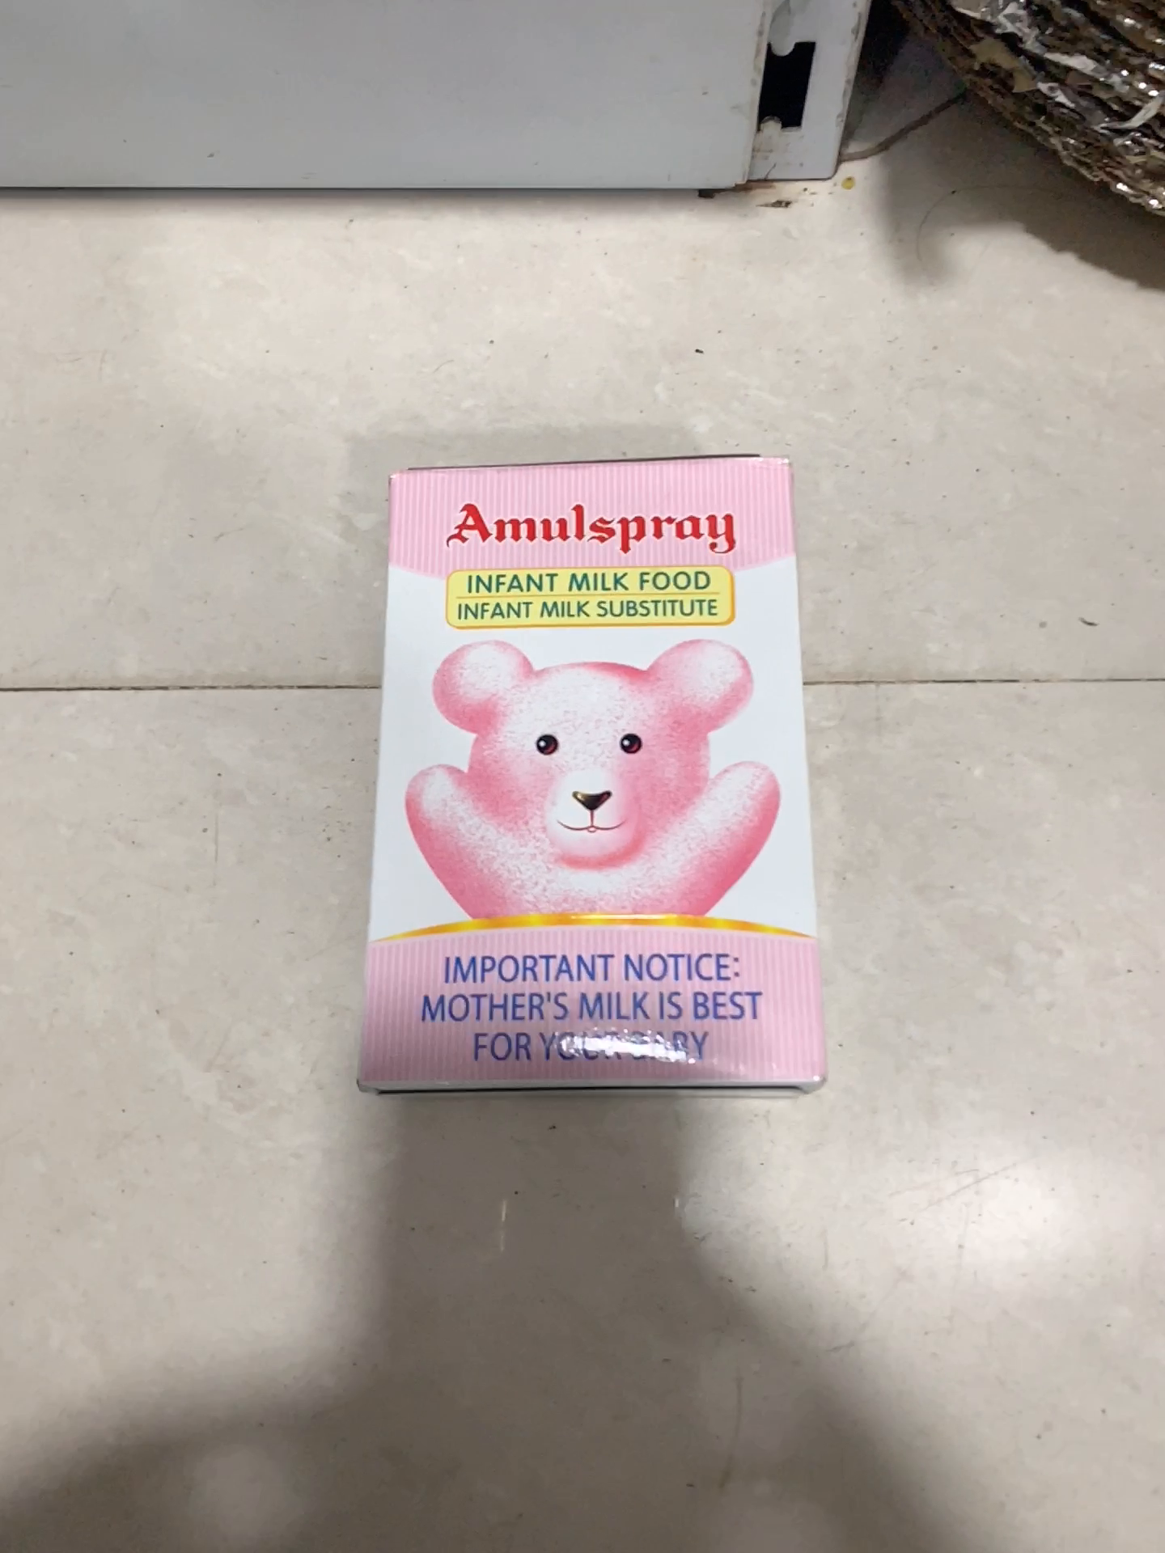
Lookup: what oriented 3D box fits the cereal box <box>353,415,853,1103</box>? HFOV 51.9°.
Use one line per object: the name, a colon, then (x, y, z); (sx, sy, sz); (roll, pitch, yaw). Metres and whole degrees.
cereal box: (0.005, -0.003, 0.260); (0.090, 0.050, 0.140); (0, 73, 3)
